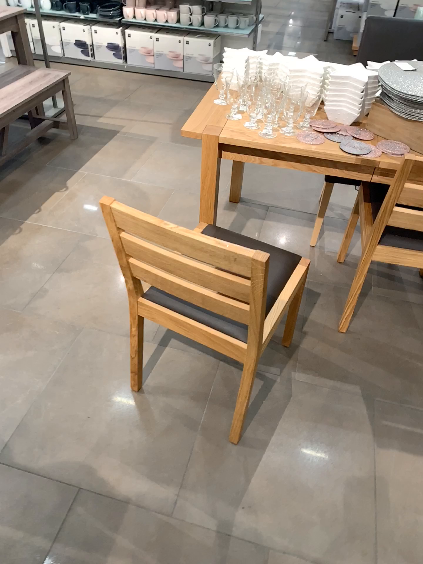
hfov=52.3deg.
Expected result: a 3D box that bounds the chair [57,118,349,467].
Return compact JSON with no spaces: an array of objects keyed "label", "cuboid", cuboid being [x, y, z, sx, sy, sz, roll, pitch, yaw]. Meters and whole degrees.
[{"label":"chair","cuboid":[-0.006,0.028,1.396,0.563,0.815,0.567,21,44,19]}]
